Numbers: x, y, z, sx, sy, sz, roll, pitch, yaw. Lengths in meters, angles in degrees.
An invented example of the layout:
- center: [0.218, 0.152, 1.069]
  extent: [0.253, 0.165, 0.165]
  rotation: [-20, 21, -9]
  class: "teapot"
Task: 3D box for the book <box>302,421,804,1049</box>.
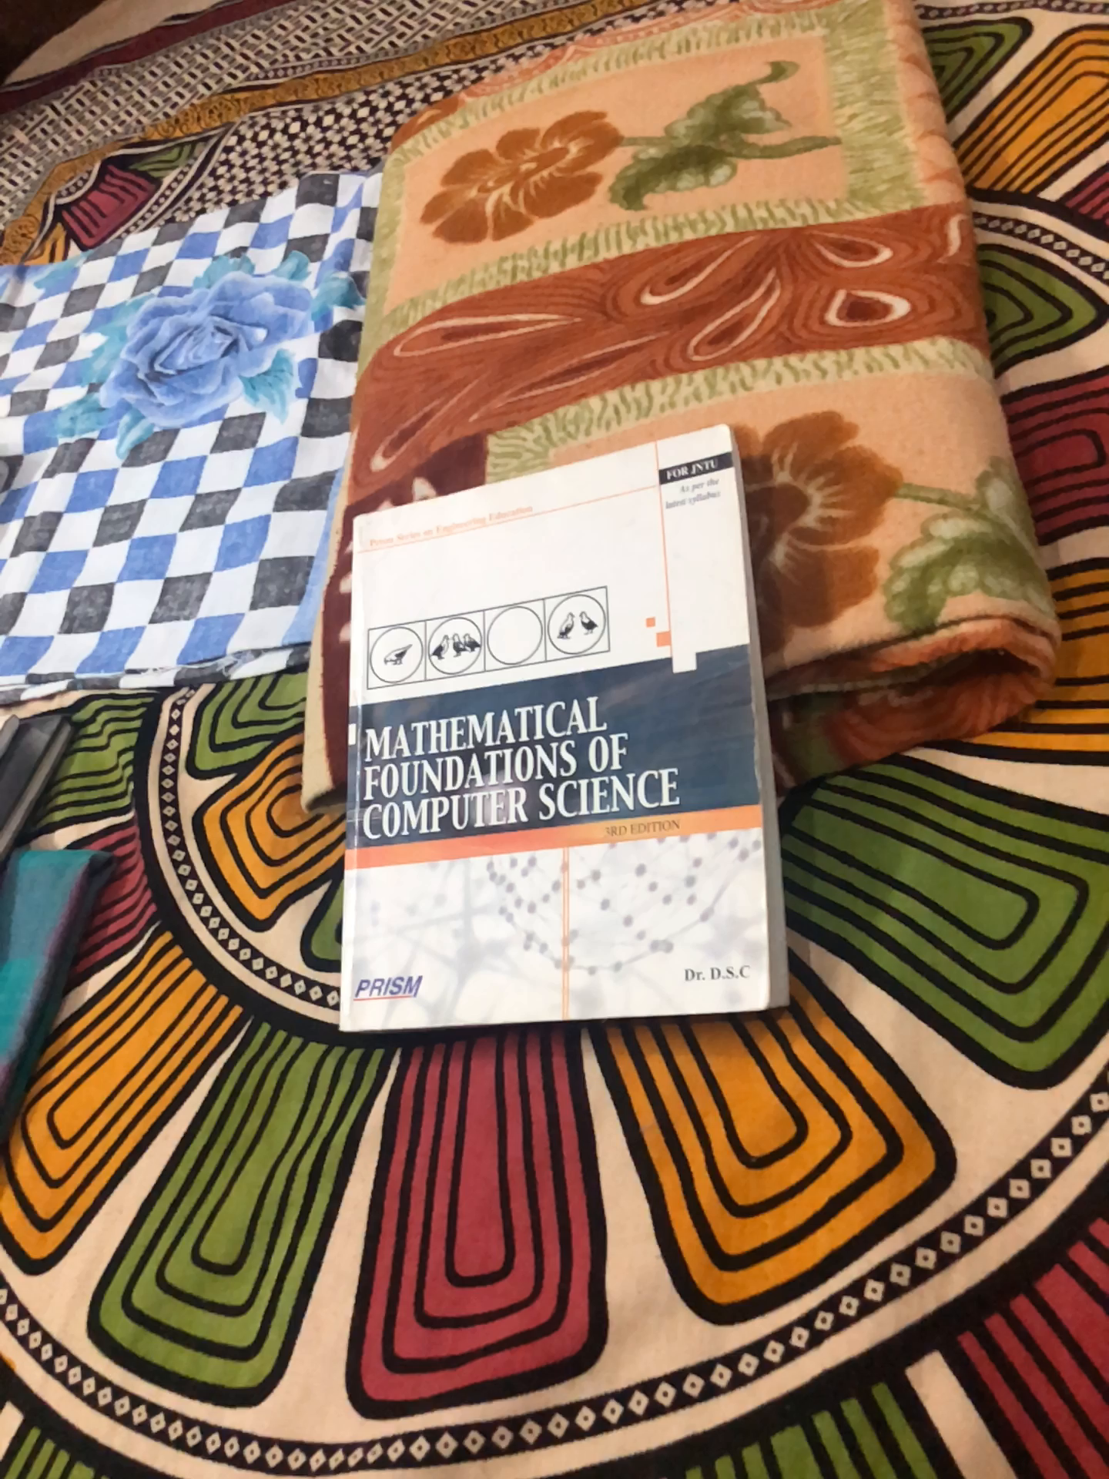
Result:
- center: [-0.008, 0.005, 0.504]
  extent: [0.190, 0.050, 0.230]
  rotation: [-8, 73, 21]
  class: "book"
